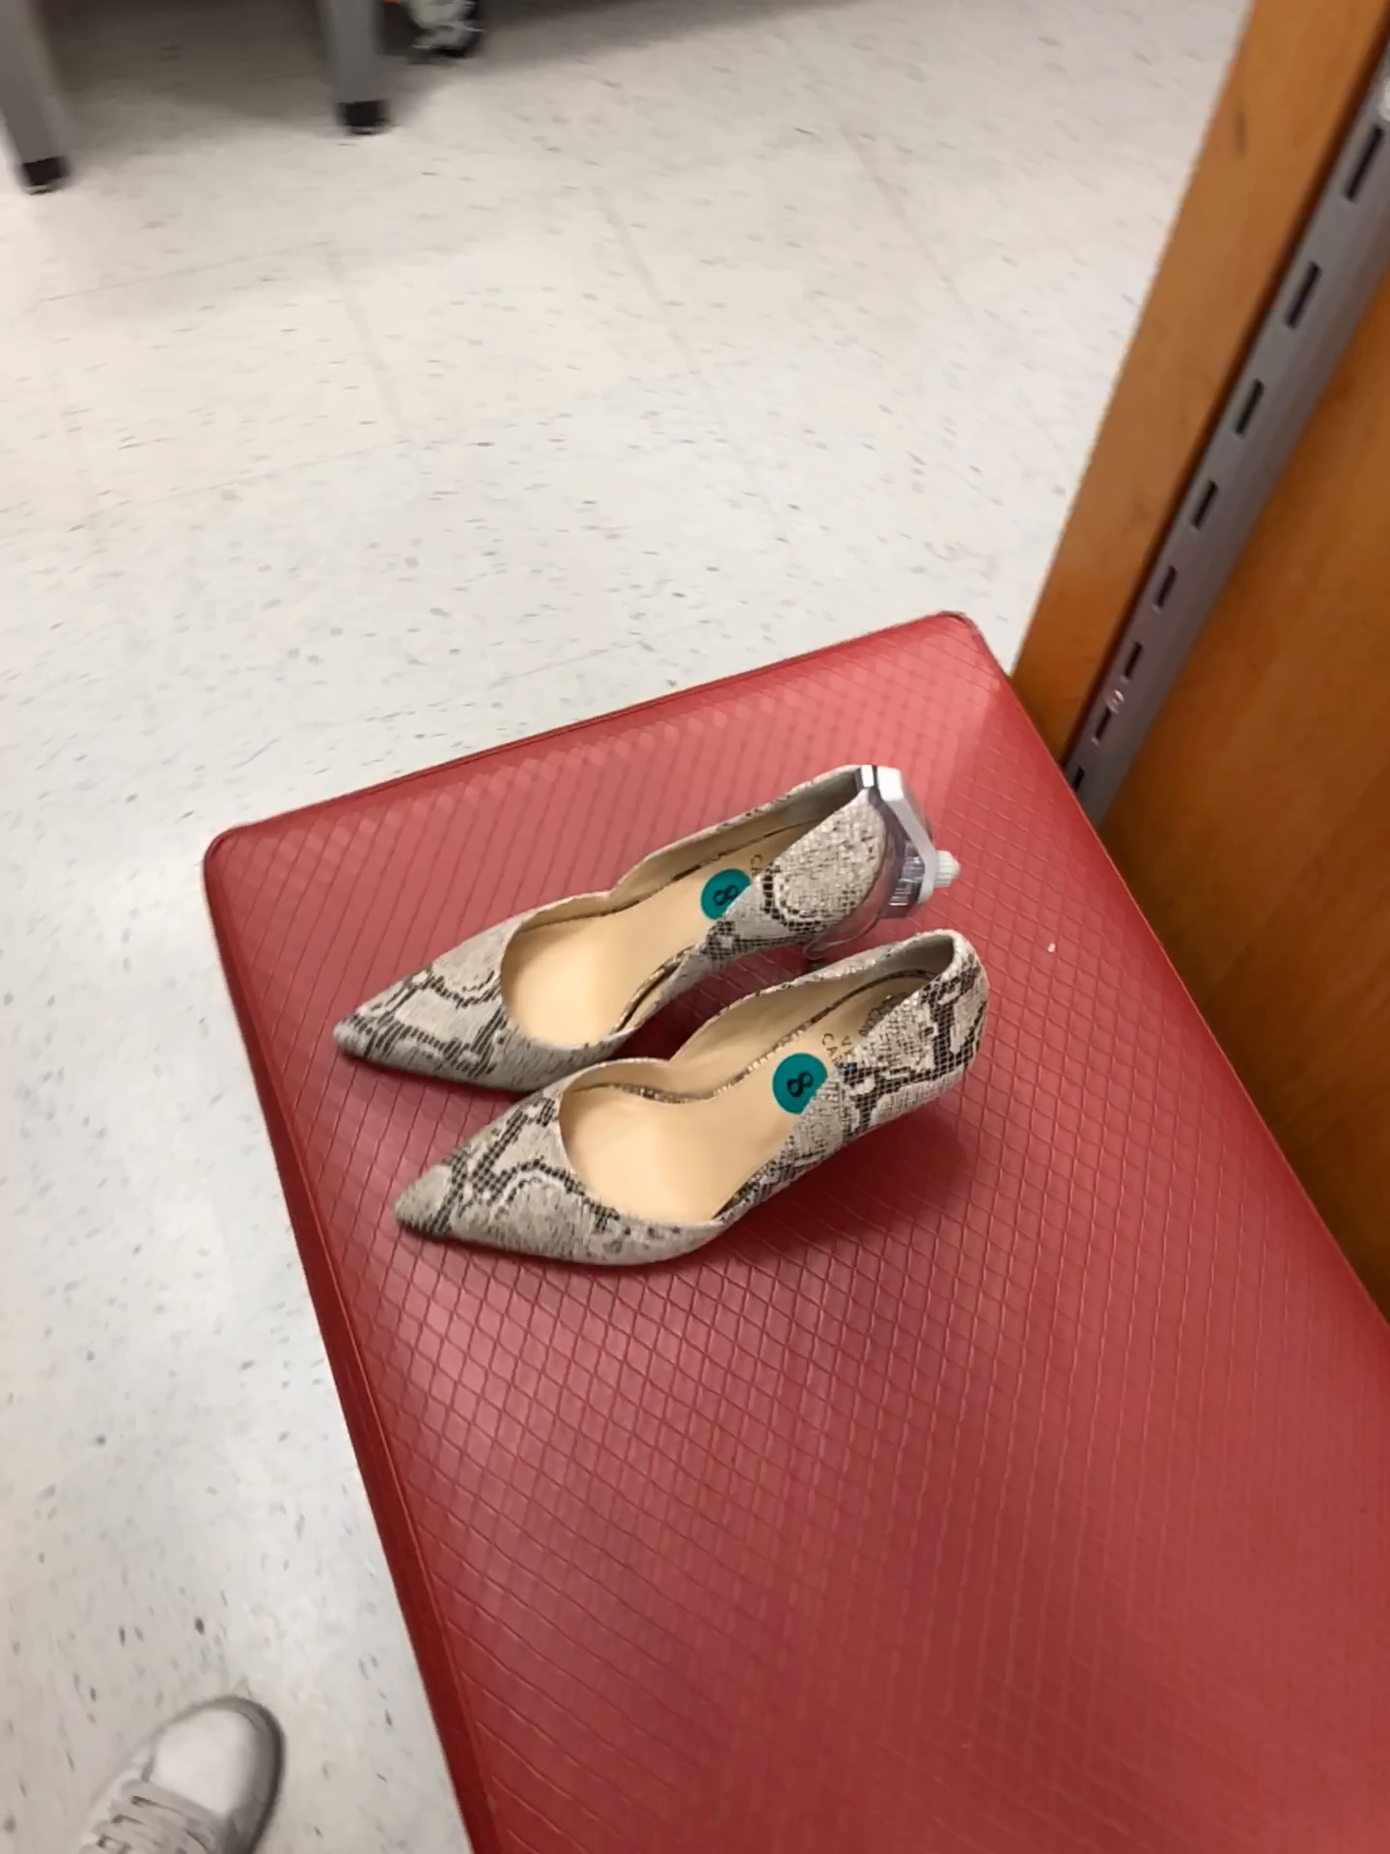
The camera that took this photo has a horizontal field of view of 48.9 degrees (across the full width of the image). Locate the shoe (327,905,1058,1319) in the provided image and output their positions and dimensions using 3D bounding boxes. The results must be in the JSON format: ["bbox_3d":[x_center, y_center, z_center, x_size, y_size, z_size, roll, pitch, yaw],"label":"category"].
[{"bbox_3d":[-0.004,0.075,0.614,0.259,0.102,0.093,-9,63,-7],"label":"shoe"}]

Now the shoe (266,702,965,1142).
[{"bbox_3d":[-0.034,-0.001,0.654,0.262,0.112,0.092,-13,63,-9],"label":"shoe"}]
